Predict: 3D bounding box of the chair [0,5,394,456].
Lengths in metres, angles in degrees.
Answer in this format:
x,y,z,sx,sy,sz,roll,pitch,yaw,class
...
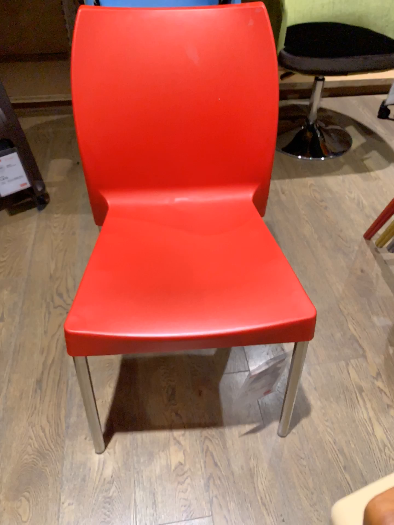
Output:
x,y,z,sx,sy,sz,roll,pitch,yaw,class
-0.013,-0.046,0.911,0.530,0.777,0.622,-3,46,-3,chair
